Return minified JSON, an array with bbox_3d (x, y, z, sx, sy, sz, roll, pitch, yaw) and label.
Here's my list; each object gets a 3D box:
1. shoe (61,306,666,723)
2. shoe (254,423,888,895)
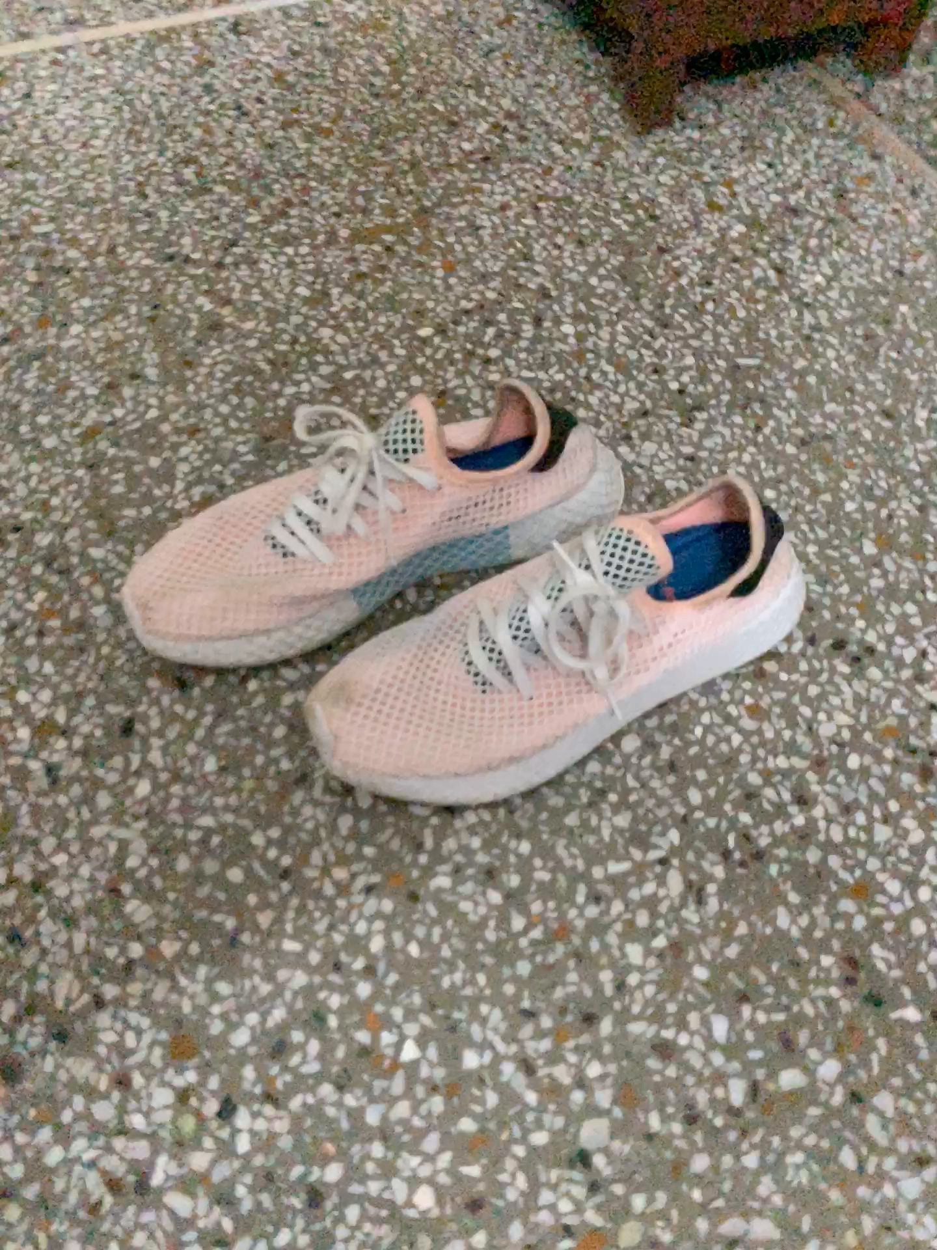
[{"bbox_3d":[-0.057,-0.072,0.567,0.310,0.100,0.122,-21,61,-15],"label":"shoe"},{"bbox_3d":[0.056,0.012,0.533,0.309,0.100,0.122,-23,62,-16],"label":"shoe"}]
